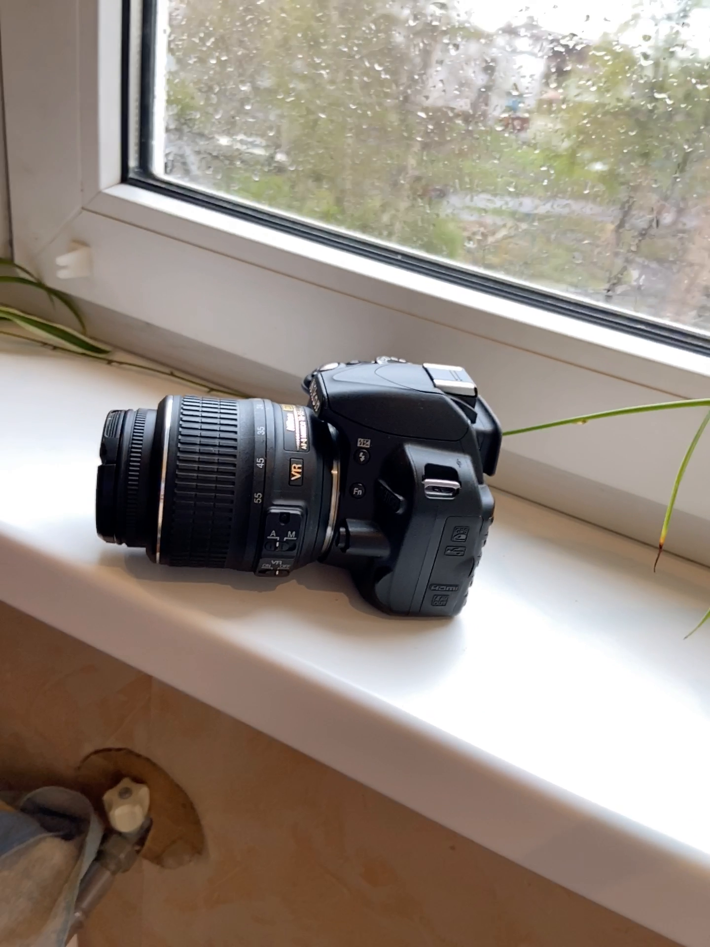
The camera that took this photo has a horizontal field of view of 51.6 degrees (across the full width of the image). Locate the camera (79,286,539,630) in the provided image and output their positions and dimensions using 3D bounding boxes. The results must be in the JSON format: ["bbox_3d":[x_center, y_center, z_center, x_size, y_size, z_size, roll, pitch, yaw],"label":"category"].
[{"bbox_3d":[-0.028,-0.009,0.323,0.159,0.092,0.122,3,31,-13],"label":"camera"}]
